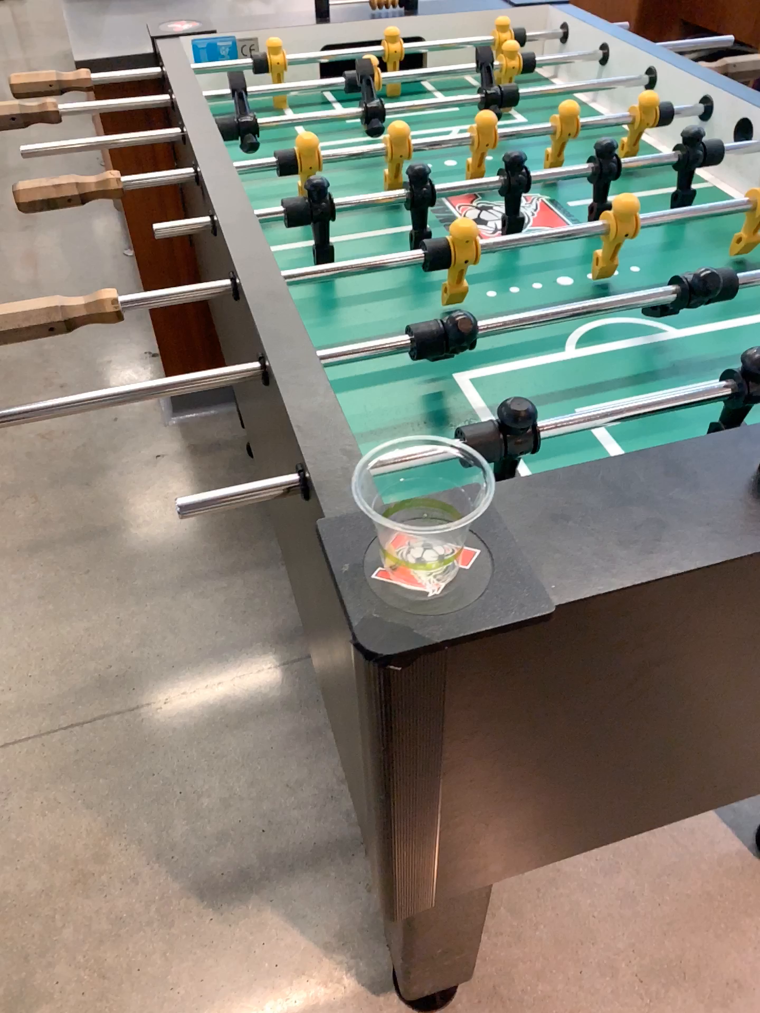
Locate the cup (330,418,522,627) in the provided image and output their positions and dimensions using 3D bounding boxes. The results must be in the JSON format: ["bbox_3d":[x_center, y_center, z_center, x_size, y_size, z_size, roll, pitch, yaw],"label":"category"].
[{"bbox_3d":[0.022,0.007,0.411,0.070,0.060,0.070,-1,44,1],"label":"cup"}]
